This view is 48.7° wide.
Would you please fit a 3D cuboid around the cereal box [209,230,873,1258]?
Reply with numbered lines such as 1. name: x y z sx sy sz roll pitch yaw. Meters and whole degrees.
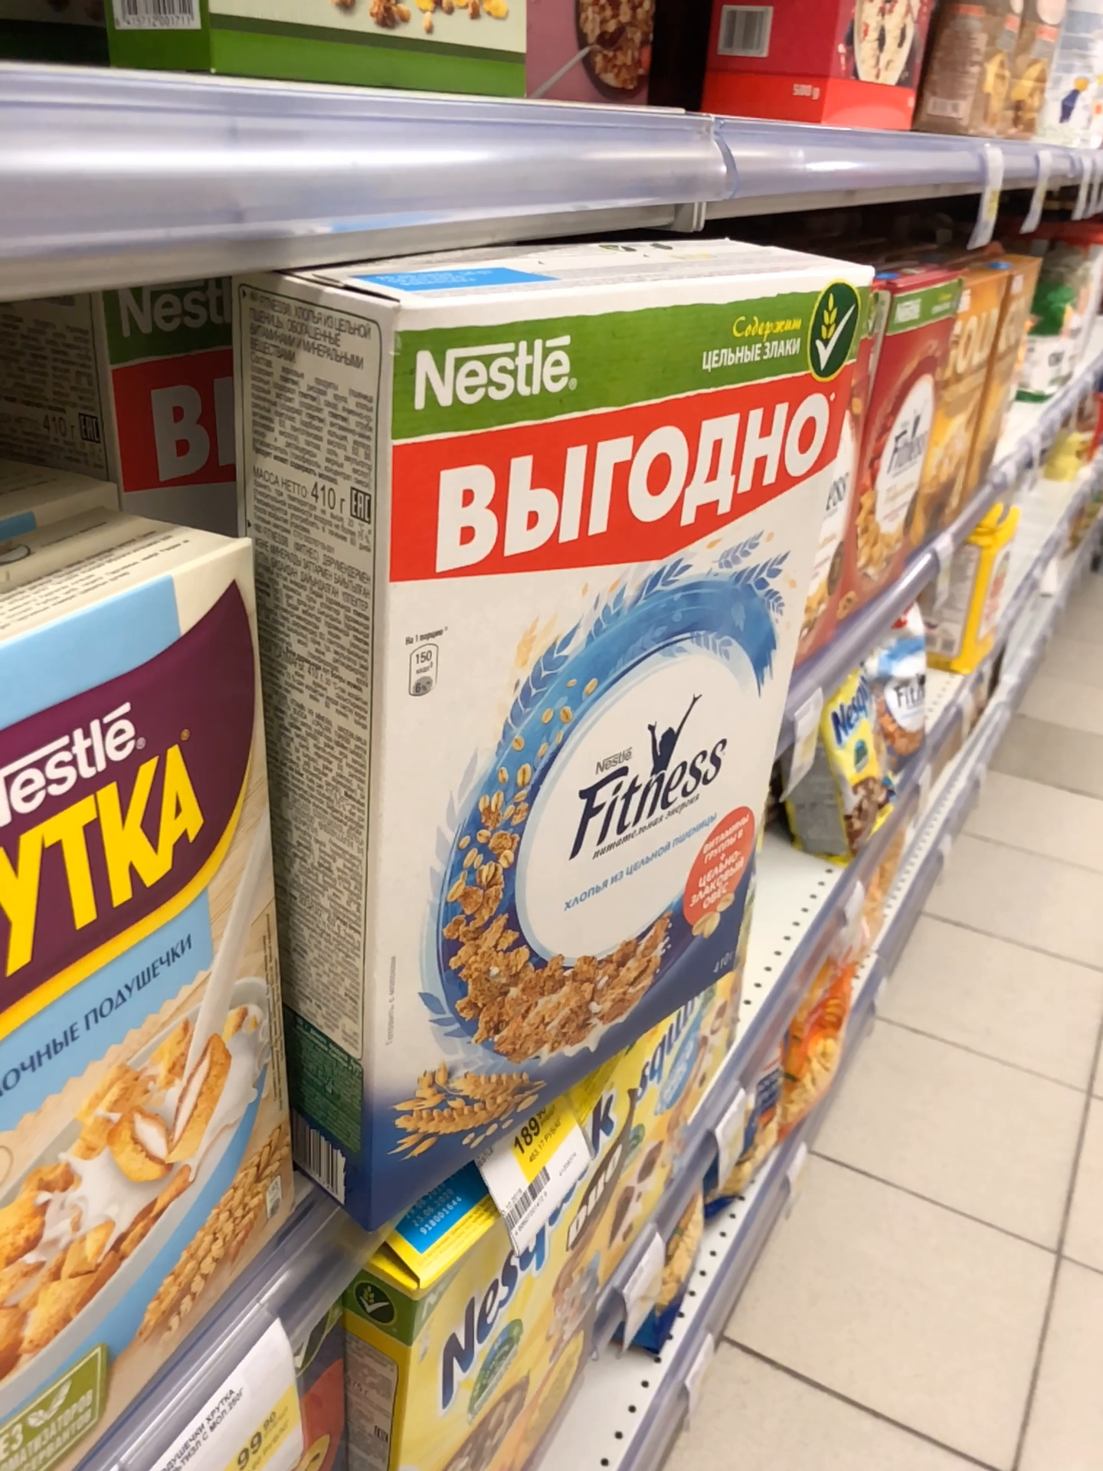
1. cereal box: -0.003 -0.005 0.398 0.060 0.288 0.201 28 35 34
